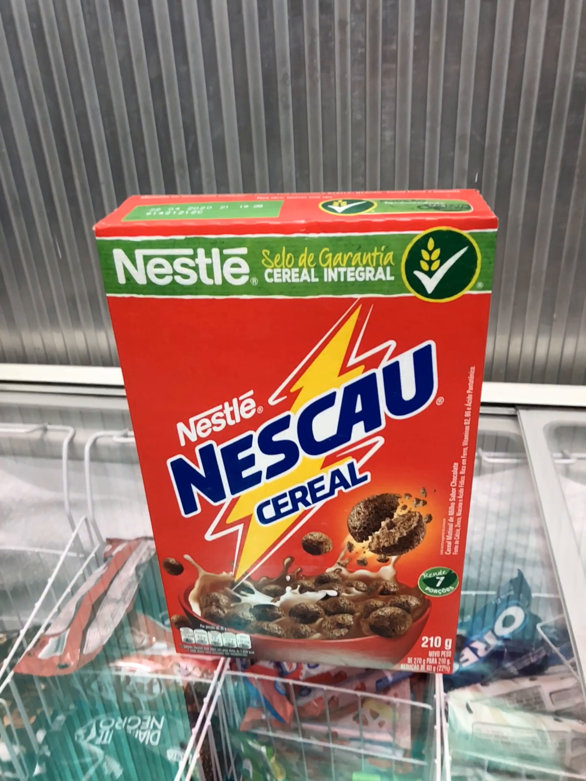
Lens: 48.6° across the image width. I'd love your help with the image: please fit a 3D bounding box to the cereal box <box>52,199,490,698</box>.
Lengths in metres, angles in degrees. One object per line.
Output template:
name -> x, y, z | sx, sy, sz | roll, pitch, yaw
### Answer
cereal box -> -0.003, 0.041, 0.330 | 0.170, 0.258, 0.050 | 2, 29, 9
